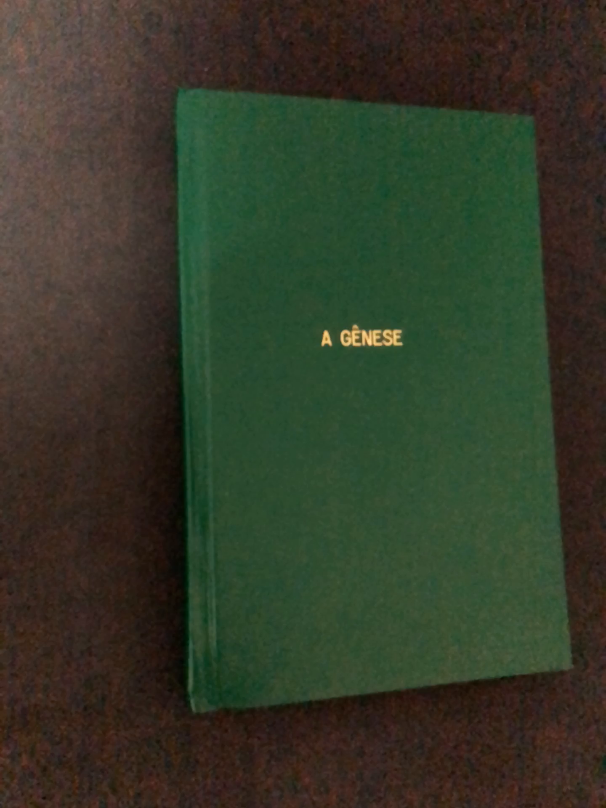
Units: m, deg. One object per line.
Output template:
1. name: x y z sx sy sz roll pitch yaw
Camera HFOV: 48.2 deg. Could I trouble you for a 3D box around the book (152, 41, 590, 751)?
1. book: 0.022 -0.009 0.263 0.150 0.040 0.240 -2 84 -12
